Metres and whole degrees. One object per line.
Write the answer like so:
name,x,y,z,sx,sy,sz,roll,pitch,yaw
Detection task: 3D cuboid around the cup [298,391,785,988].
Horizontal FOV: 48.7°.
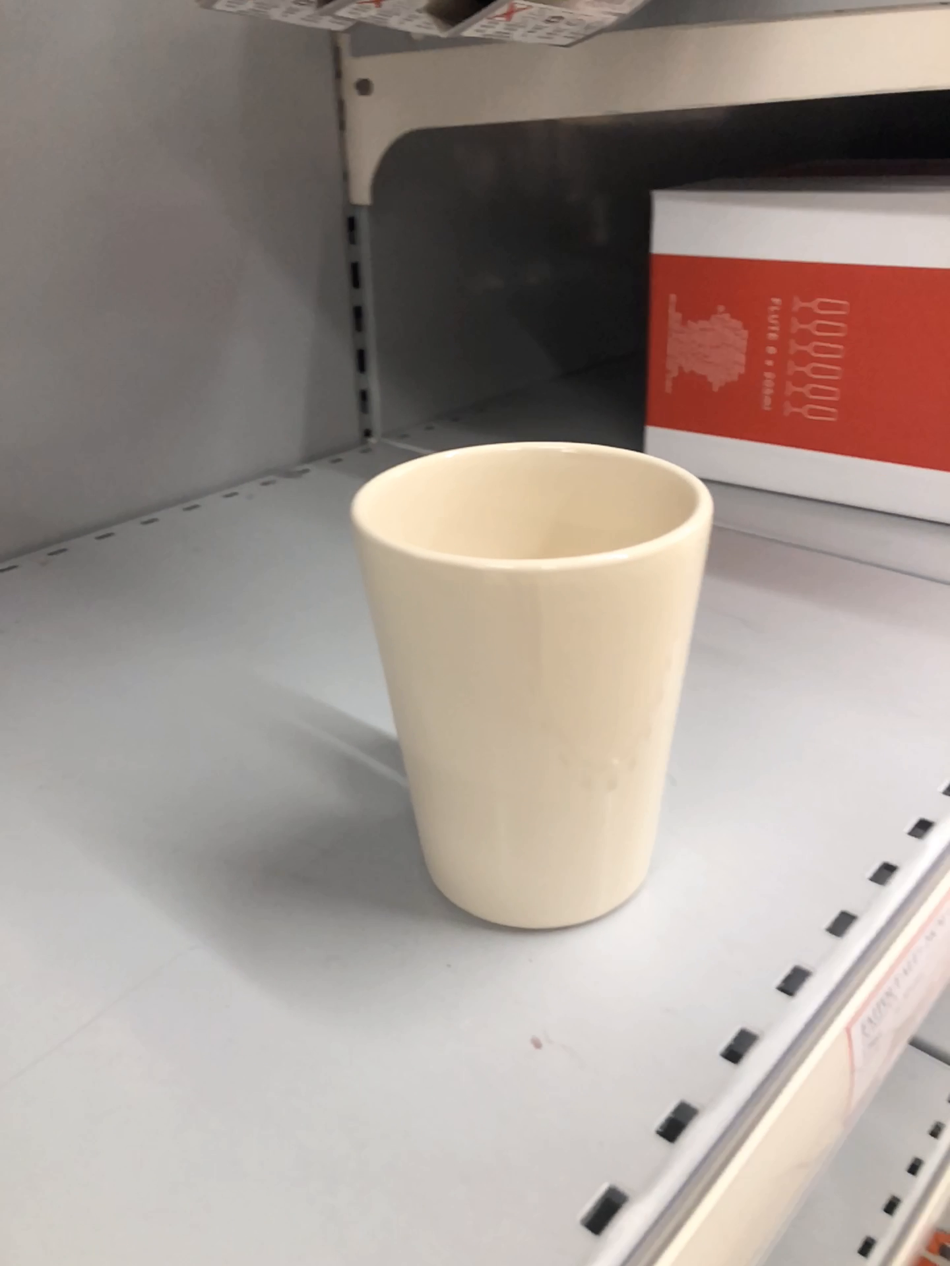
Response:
cup,0.008,0.004,0.277,0.082,0.099,0.120,-9,28,-14
